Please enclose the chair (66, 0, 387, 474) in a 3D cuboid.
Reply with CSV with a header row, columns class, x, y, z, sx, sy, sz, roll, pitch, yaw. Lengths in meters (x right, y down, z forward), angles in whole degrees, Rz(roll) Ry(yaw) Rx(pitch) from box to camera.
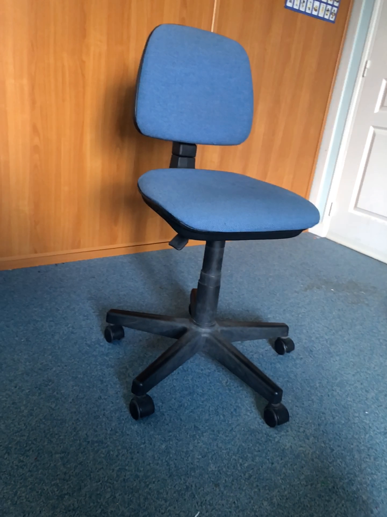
class,x,y,z,sx,sy,sz,roll,pitch,yaw
chair,0.071,-0.147,1.172,0.652,0.915,0.761,-4,23,-28
